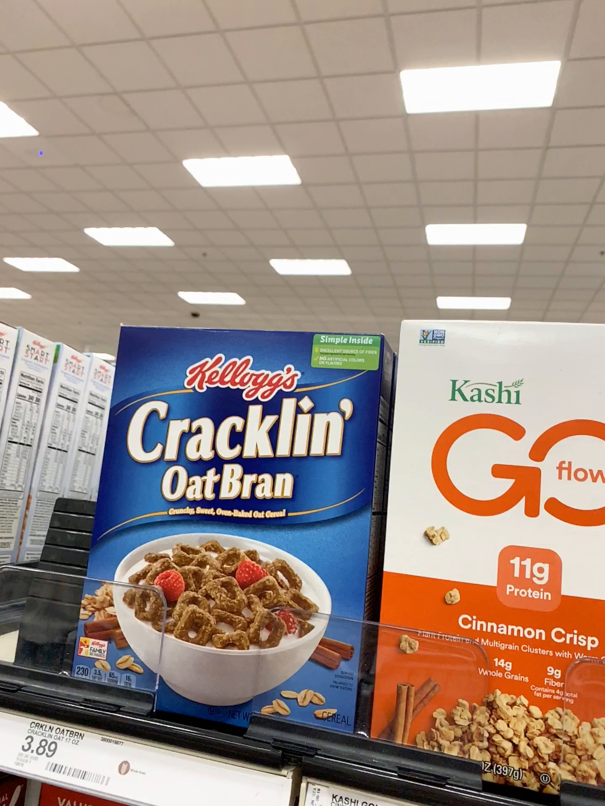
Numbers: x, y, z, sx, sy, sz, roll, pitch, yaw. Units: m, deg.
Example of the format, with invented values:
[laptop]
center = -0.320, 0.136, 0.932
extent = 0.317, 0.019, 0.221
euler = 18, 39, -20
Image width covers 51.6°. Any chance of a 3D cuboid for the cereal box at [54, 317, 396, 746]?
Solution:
[cereal box]
center = -0.045, 0.071, 0.411
extent = 0.190, 0.240, 0.050
euler = 4, -8, 11
